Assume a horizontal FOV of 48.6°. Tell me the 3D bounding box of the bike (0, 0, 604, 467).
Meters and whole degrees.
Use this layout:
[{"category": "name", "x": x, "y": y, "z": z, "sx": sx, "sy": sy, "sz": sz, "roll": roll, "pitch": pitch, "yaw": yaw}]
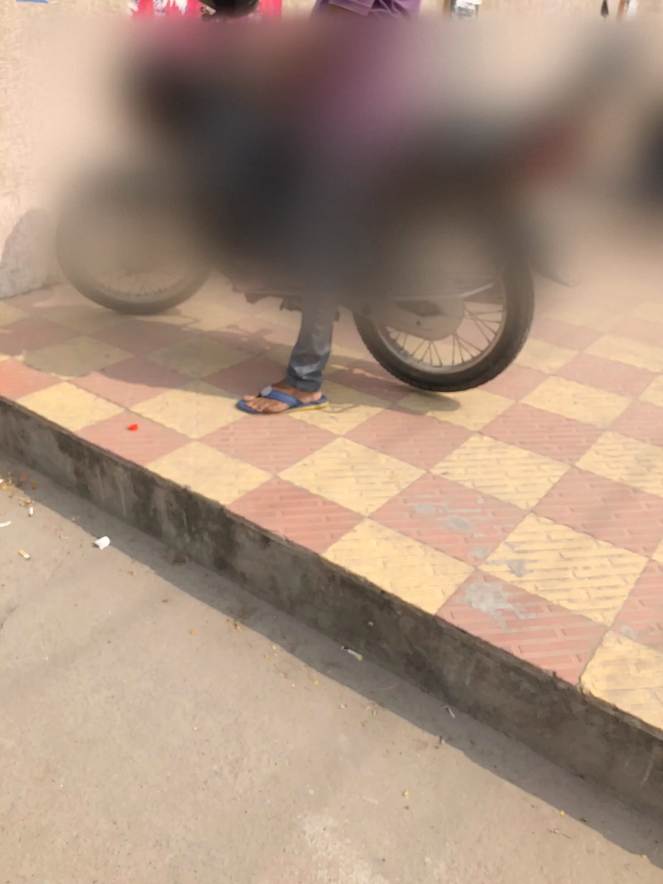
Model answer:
[{"category": "bike", "x": -0.221, "y": -0.765, "z": 2.331, "sx": 1.720, "sy": 1.066, "sz": 0.898, "roll": 13, "pitch": 30, "yaw": 17}]
